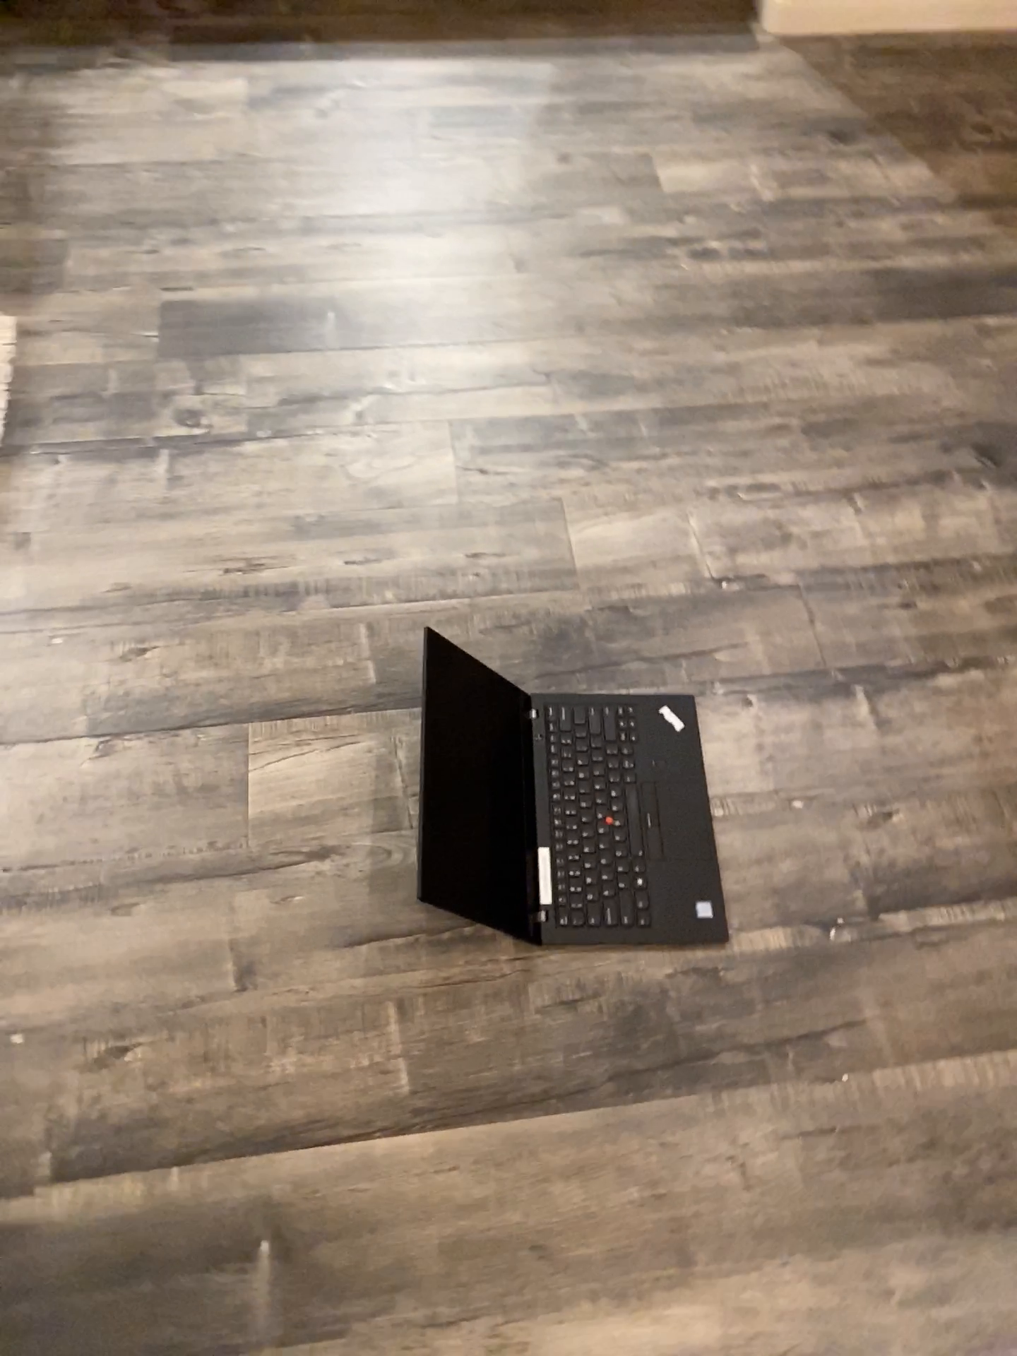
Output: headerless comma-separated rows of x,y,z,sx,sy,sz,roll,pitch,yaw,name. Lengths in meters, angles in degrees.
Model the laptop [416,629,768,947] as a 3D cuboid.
0.079,0.124,1.173,0.355,0.149,0.320,2,58,-7,laptop
